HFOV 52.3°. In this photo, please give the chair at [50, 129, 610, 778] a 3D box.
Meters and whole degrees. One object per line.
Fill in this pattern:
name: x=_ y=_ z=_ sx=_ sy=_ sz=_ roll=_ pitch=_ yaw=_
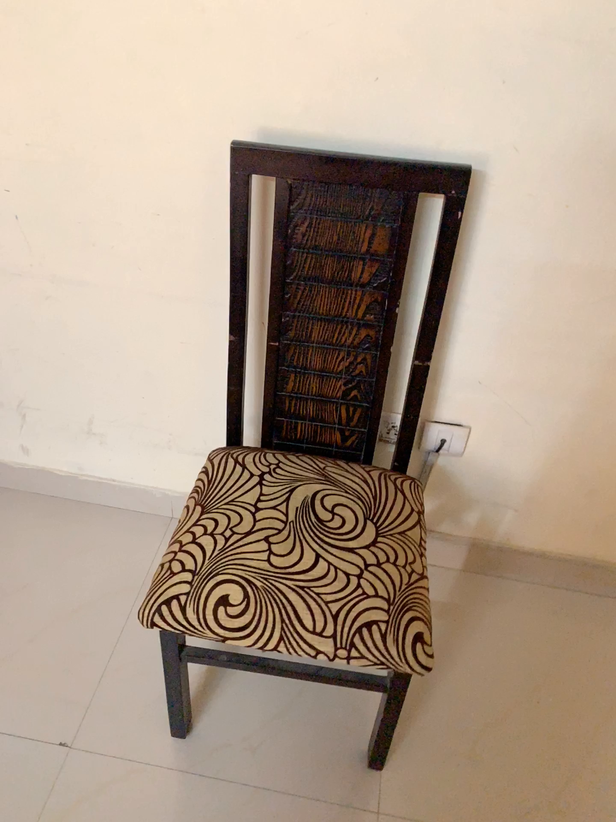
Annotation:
chair: x=0.014 y=0.097 z=1.103 sx=0.530 sy=0.922 sz=0.585 roll=7 pitch=38 yaw=2
